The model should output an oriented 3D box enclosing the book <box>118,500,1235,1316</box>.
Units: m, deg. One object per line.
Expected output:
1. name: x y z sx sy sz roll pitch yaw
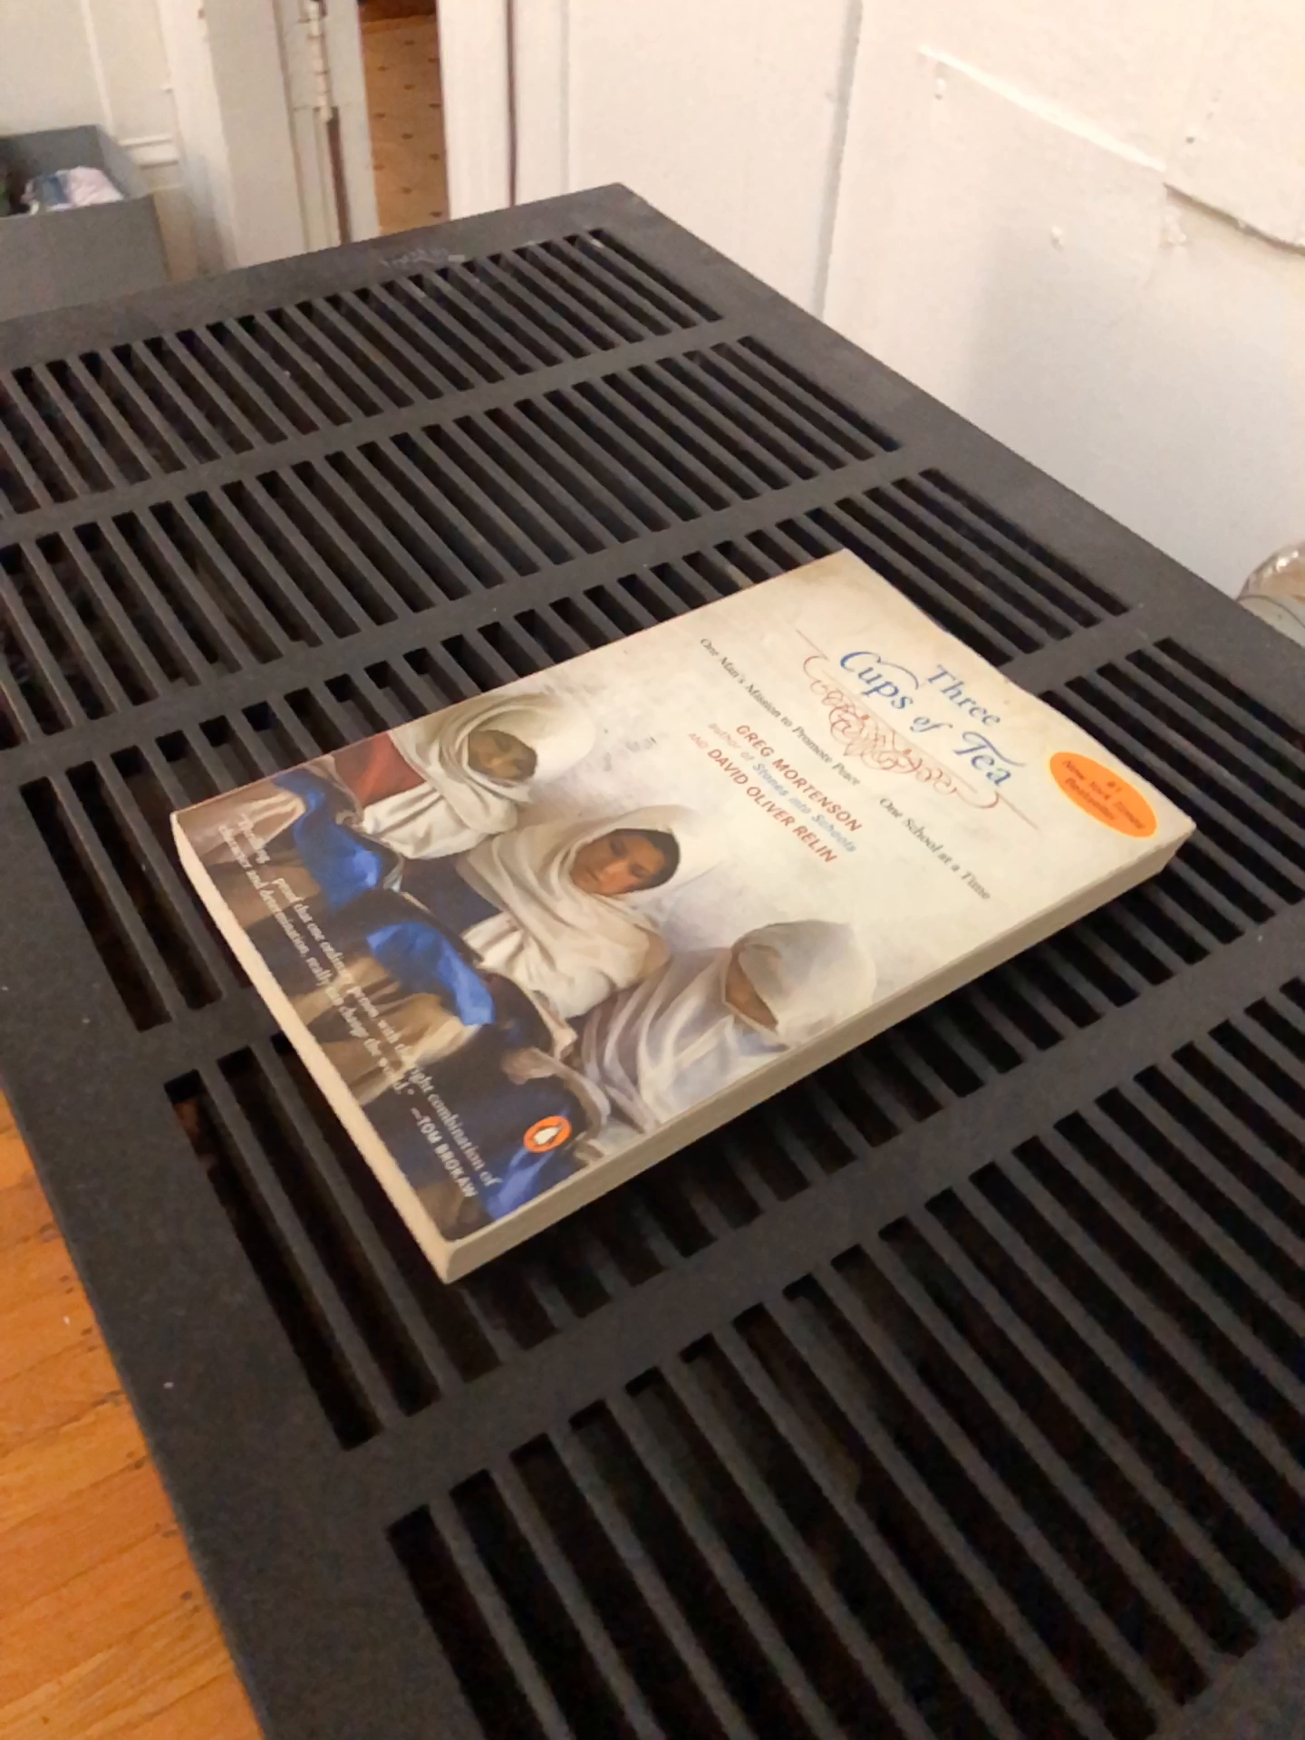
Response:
1. book: 0.008 -0.012 0.346 0.221 0.030 0.140 -26 52 -26
